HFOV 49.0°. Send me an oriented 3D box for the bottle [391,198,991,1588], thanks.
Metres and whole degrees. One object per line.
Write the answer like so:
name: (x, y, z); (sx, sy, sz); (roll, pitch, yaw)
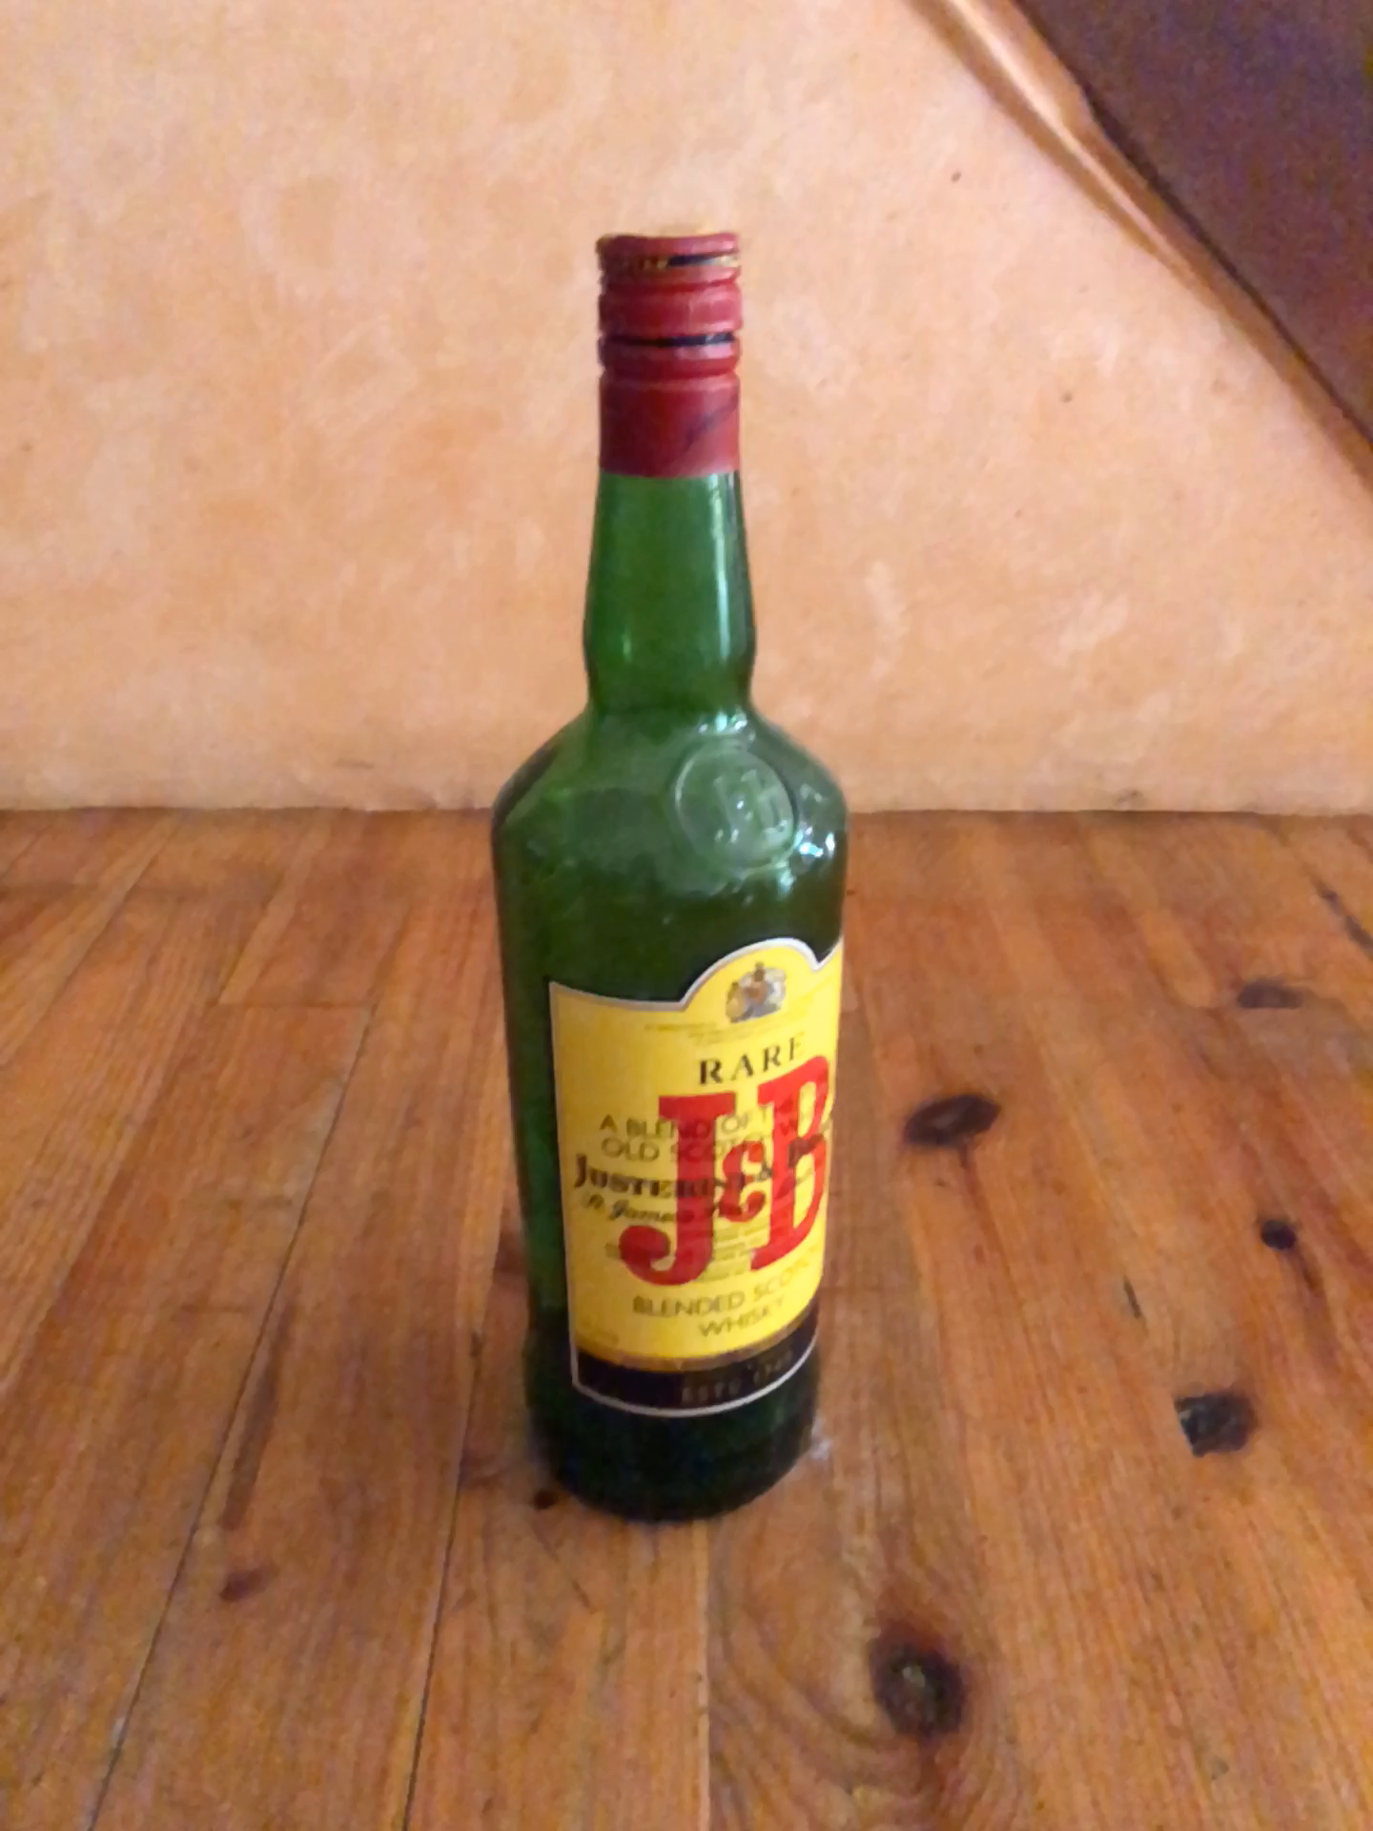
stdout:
bottle: (-0.002, 0.006, 0.363); (0.090, 0.318, 0.080); (-12, 30, -22)
